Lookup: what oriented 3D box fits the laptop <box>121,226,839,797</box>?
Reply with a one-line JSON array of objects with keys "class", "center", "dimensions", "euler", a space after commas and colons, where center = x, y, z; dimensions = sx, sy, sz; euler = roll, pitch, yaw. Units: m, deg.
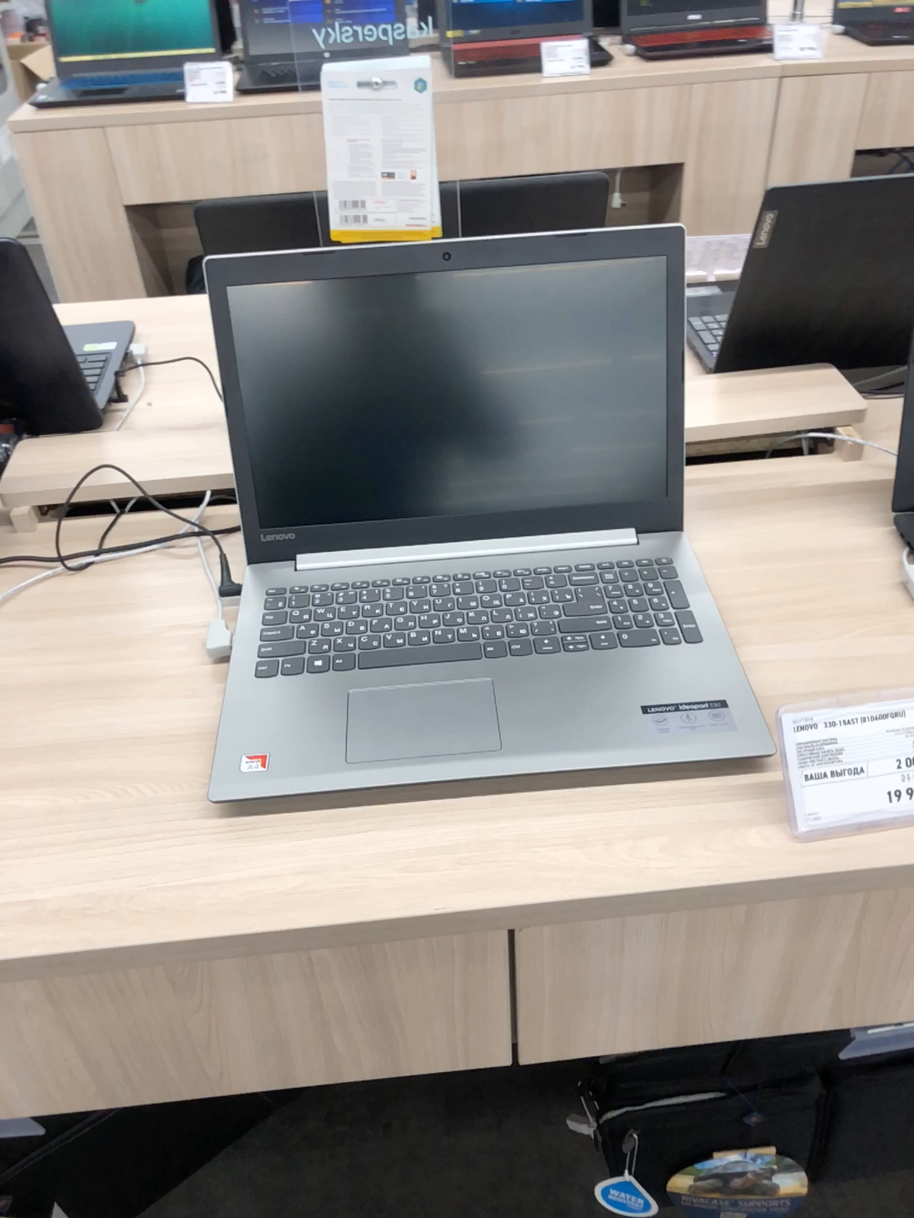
[{"class": "laptop", "center": [0.008, -0.090, 0.734], "dimensions": [0.380, 0.235, 0.345], "euler": [-5, 38, -1]}]
